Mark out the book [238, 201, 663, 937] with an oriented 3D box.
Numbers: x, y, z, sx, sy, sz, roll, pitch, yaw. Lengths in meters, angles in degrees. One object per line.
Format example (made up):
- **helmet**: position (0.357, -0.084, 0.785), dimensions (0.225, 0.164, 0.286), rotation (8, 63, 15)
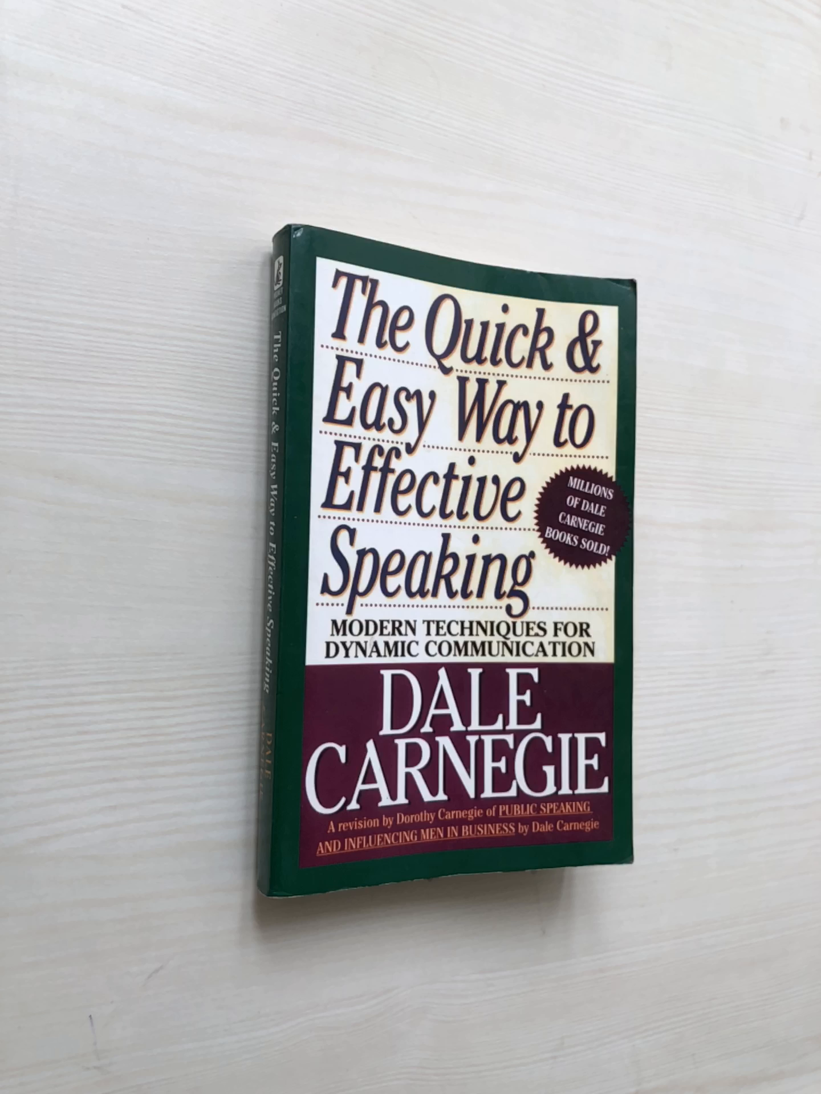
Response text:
- **book**: position (0.013, 0.007, 0.263), dimensions (0.110, 0.040, 0.180), rotation (3, 86, -21)
